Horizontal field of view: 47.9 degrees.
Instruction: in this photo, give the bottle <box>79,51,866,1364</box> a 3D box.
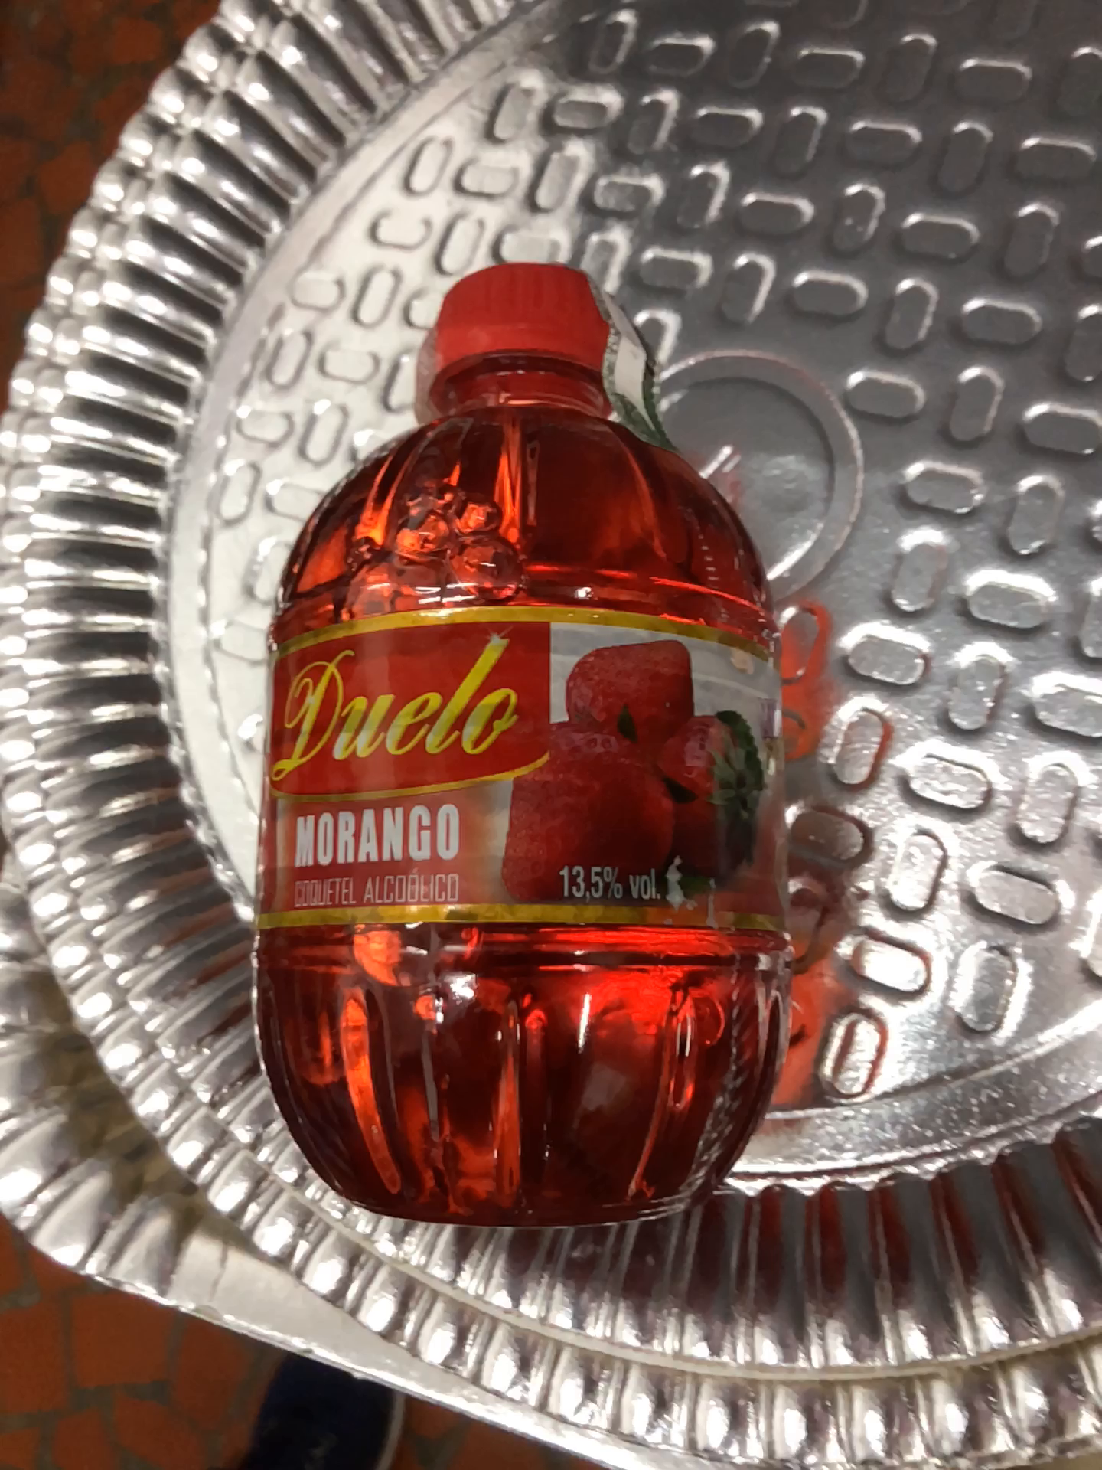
[{"bbox_3d":[-0.006,-0.002,0.187,0.090,0.070,0.150,-4,80,20],"label":"bottle"}]
